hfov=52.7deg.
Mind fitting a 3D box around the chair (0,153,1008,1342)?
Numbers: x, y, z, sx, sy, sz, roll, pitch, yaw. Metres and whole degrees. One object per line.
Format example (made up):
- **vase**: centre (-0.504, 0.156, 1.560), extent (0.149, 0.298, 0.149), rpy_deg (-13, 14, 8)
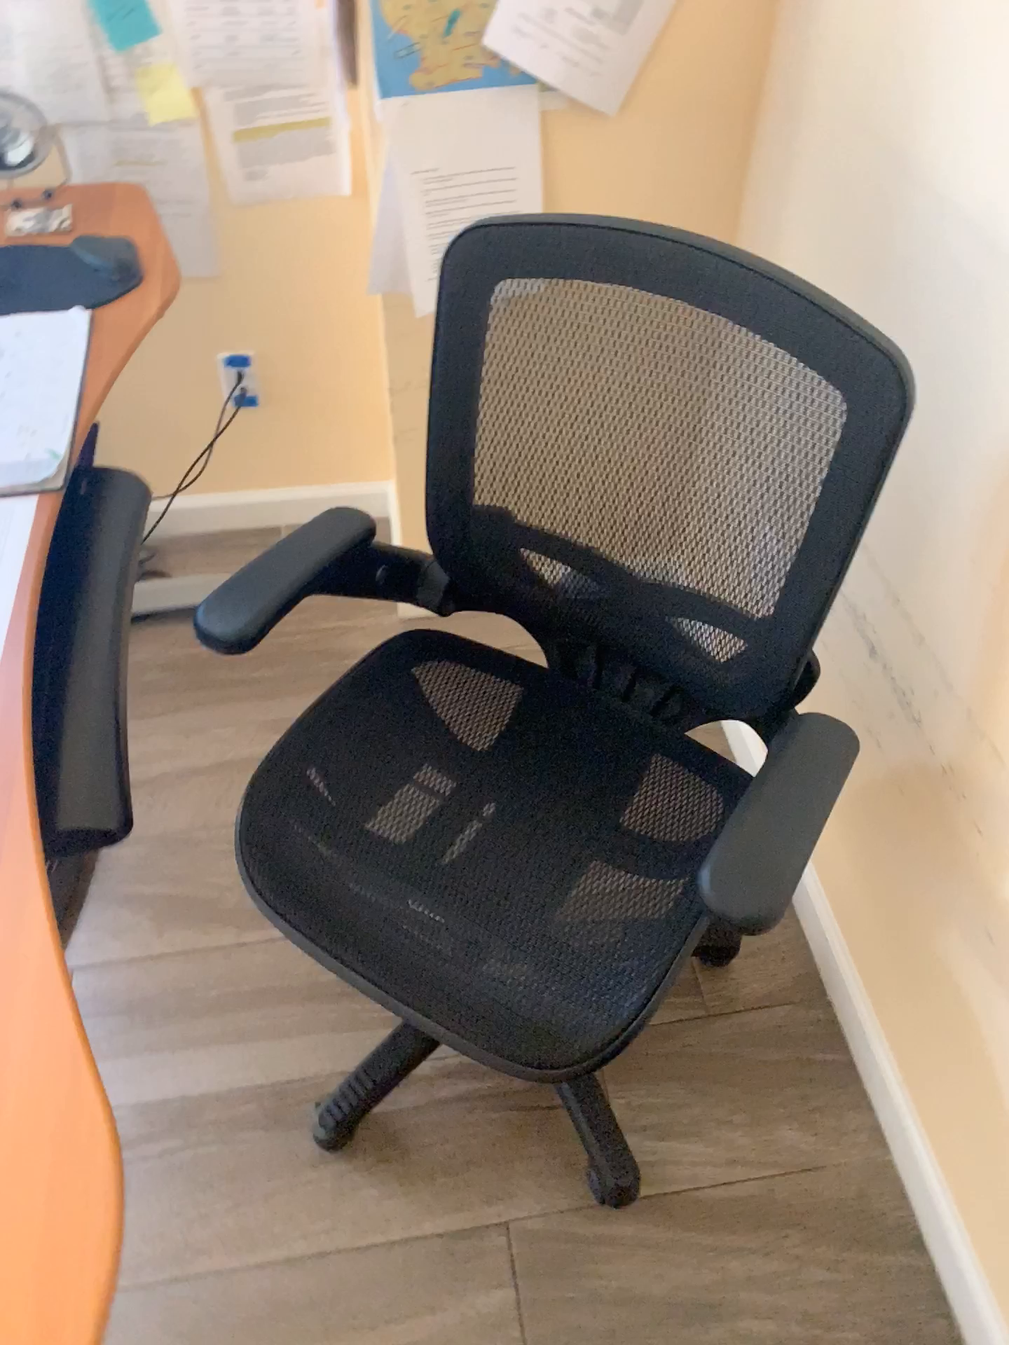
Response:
- **chair**: centre (0.042, 0.083, 1.136), extent (0.640, 0.869, 0.775), rpy_deg (25, 52, 19)
